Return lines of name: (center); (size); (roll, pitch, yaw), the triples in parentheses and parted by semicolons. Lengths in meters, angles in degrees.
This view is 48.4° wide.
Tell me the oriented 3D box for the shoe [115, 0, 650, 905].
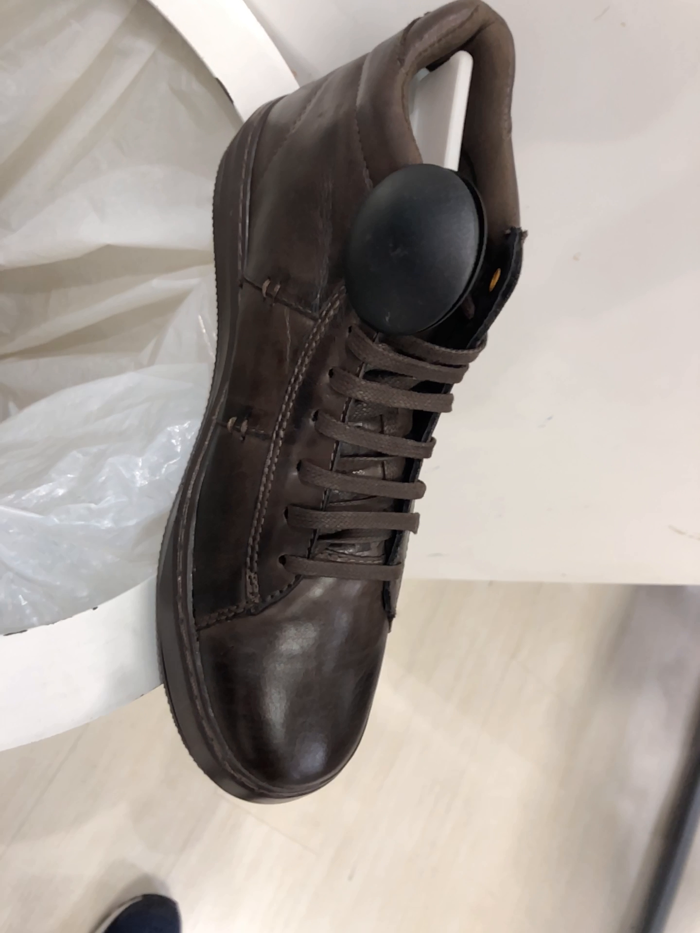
shoe: (0.013, -0.020, 0.286); (0.121, 0.139, 0.270); (11, 78, -36)
